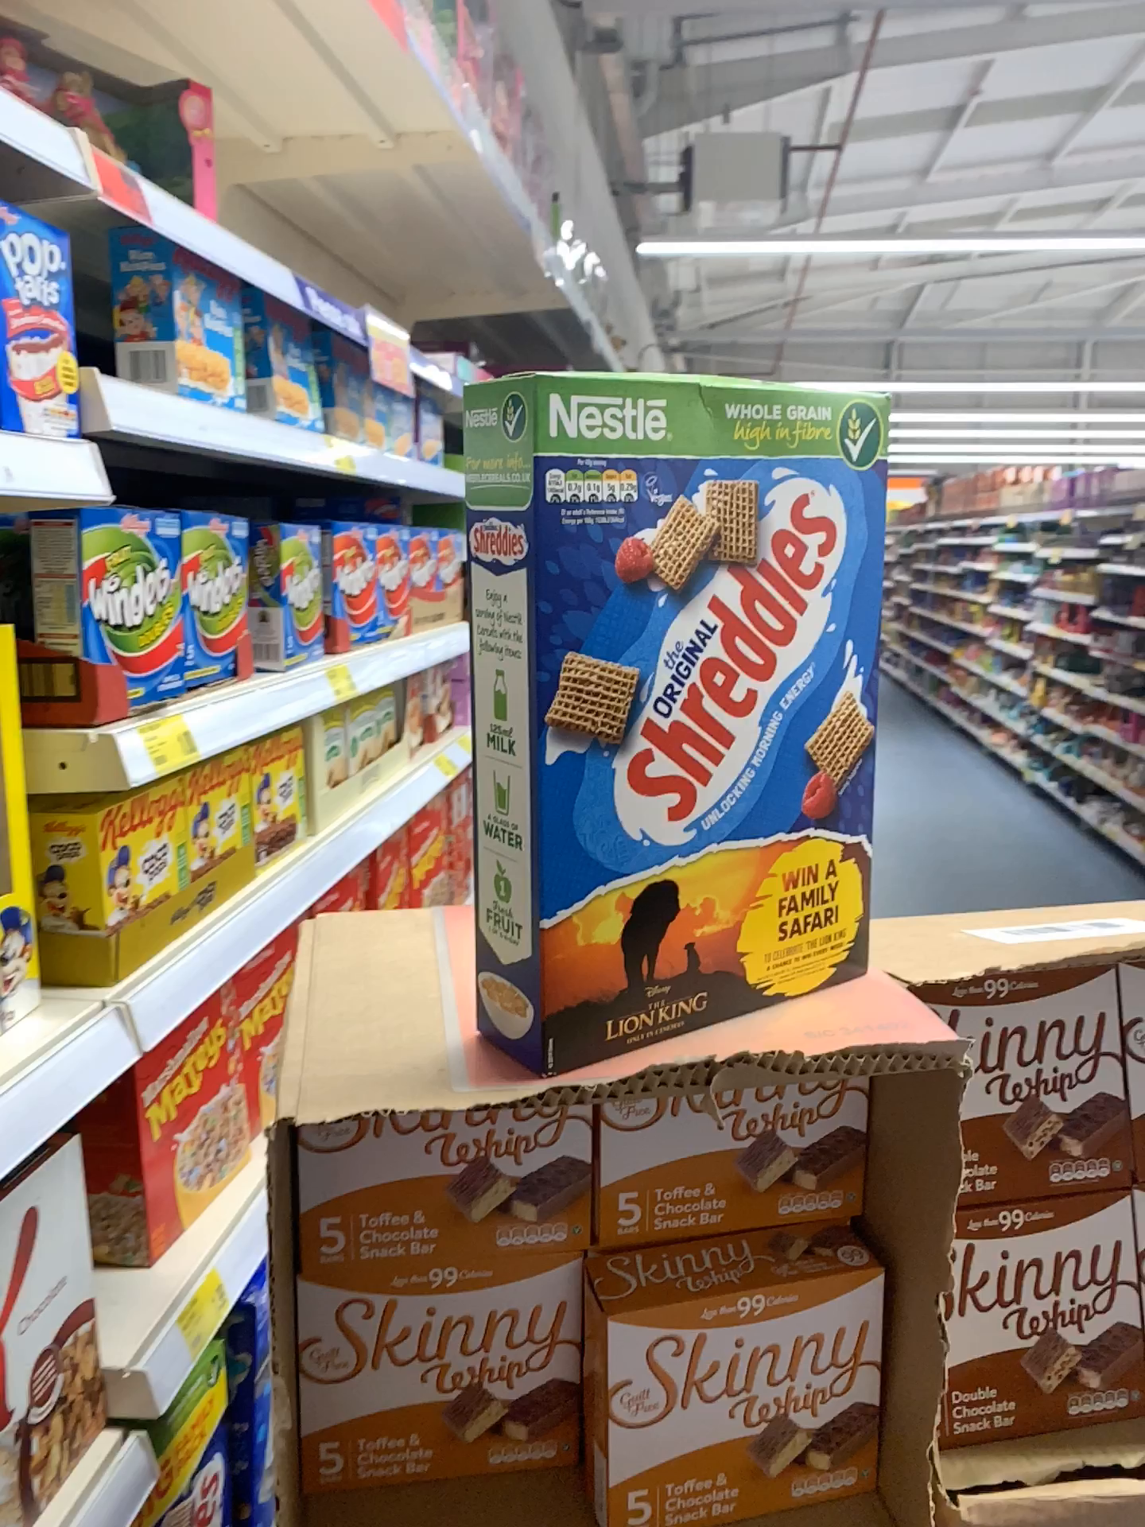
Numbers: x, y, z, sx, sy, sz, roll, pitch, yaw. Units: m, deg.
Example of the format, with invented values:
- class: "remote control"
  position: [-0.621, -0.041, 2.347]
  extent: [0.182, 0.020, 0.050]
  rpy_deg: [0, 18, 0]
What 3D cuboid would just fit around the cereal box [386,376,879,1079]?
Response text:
- class: "cereal box"
  position: [0.033, -0.026, 0.529]
  extent: [0.210, 0.269, 0.070]
  rpy_deg: [-8, 14, -33]
